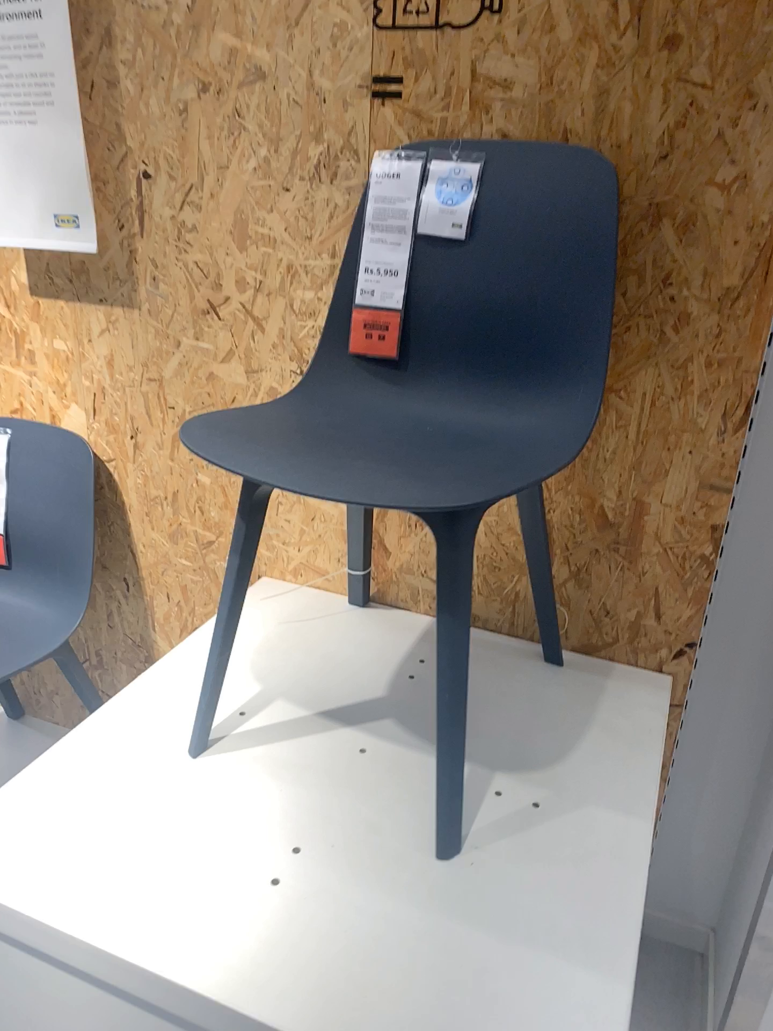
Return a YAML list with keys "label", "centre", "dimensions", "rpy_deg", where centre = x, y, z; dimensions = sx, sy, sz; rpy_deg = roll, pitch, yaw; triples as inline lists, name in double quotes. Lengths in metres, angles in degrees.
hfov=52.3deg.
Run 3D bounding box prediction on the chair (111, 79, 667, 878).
- label: "chair"
  centre: [0.029, -0.087, 1.005]
  dimensions: [0.430, 0.767, 0.501]
  rpy_deg: [13, 25, 23]
